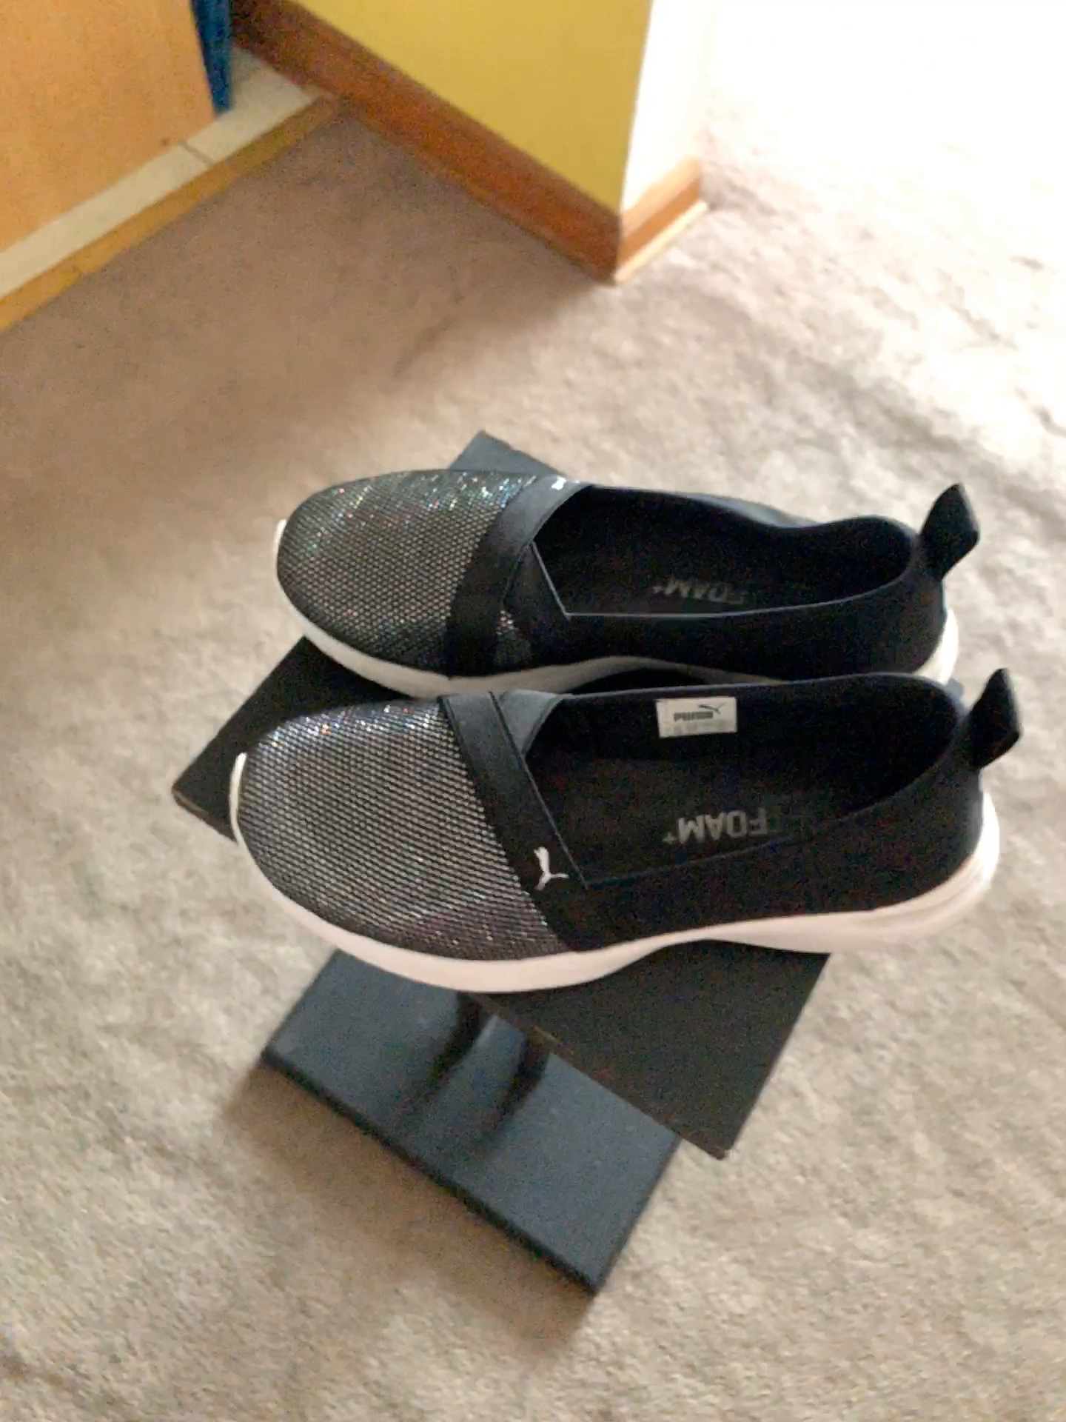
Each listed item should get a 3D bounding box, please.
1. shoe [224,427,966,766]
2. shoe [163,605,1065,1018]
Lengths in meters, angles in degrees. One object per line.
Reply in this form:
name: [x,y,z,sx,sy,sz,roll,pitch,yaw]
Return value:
shoe: [0.024,-0.043,0.412,0.240,0.080,0.091,2,62,10]
shoe: [0.024,0.039,0.366,0.260,0.080,0.091,-6,63,8]
